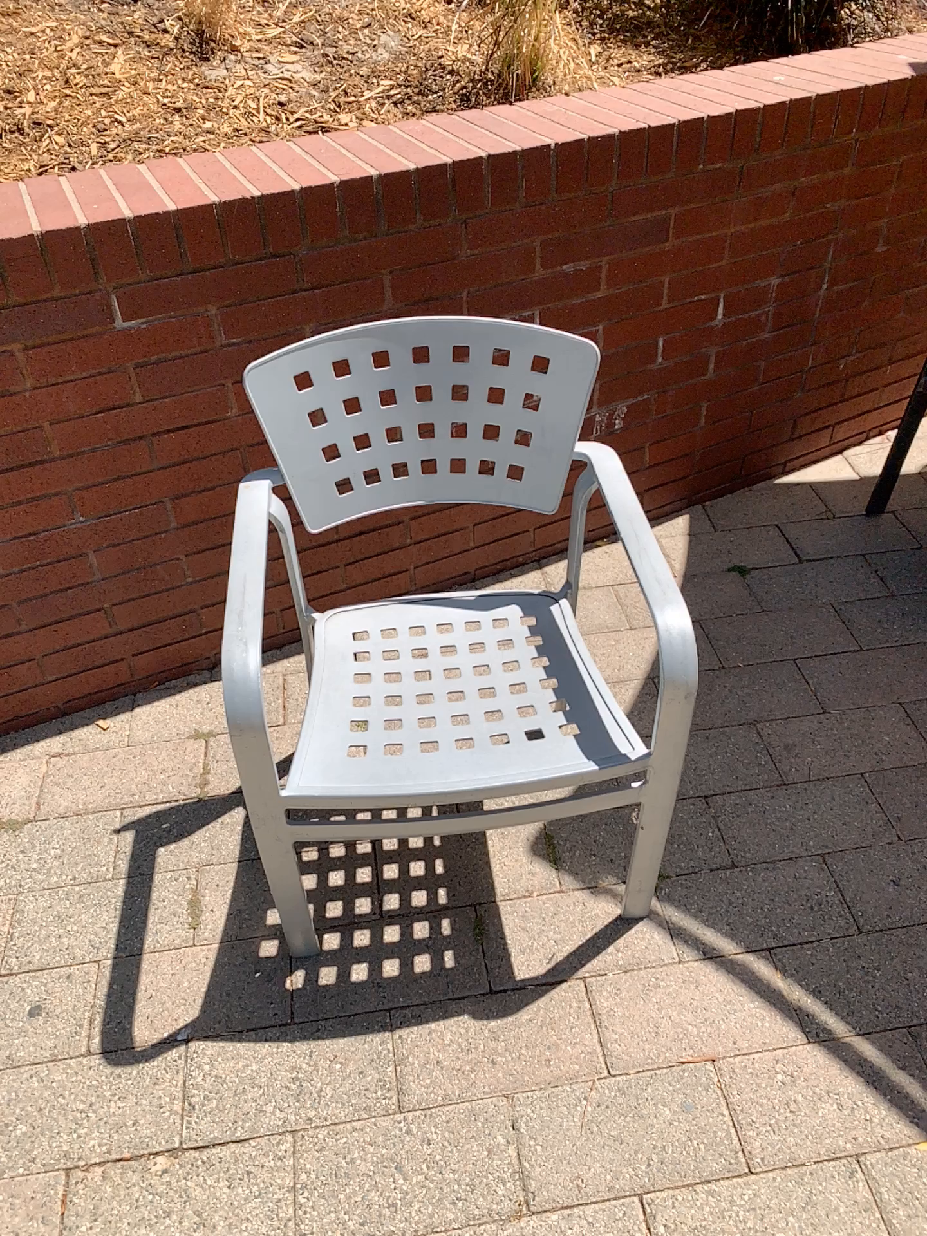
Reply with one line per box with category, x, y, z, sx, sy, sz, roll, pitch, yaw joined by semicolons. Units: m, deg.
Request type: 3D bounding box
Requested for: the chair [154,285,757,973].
chair;-0.031;0.022;1.298;0.559;0.718;0.492;-7;41;-6
